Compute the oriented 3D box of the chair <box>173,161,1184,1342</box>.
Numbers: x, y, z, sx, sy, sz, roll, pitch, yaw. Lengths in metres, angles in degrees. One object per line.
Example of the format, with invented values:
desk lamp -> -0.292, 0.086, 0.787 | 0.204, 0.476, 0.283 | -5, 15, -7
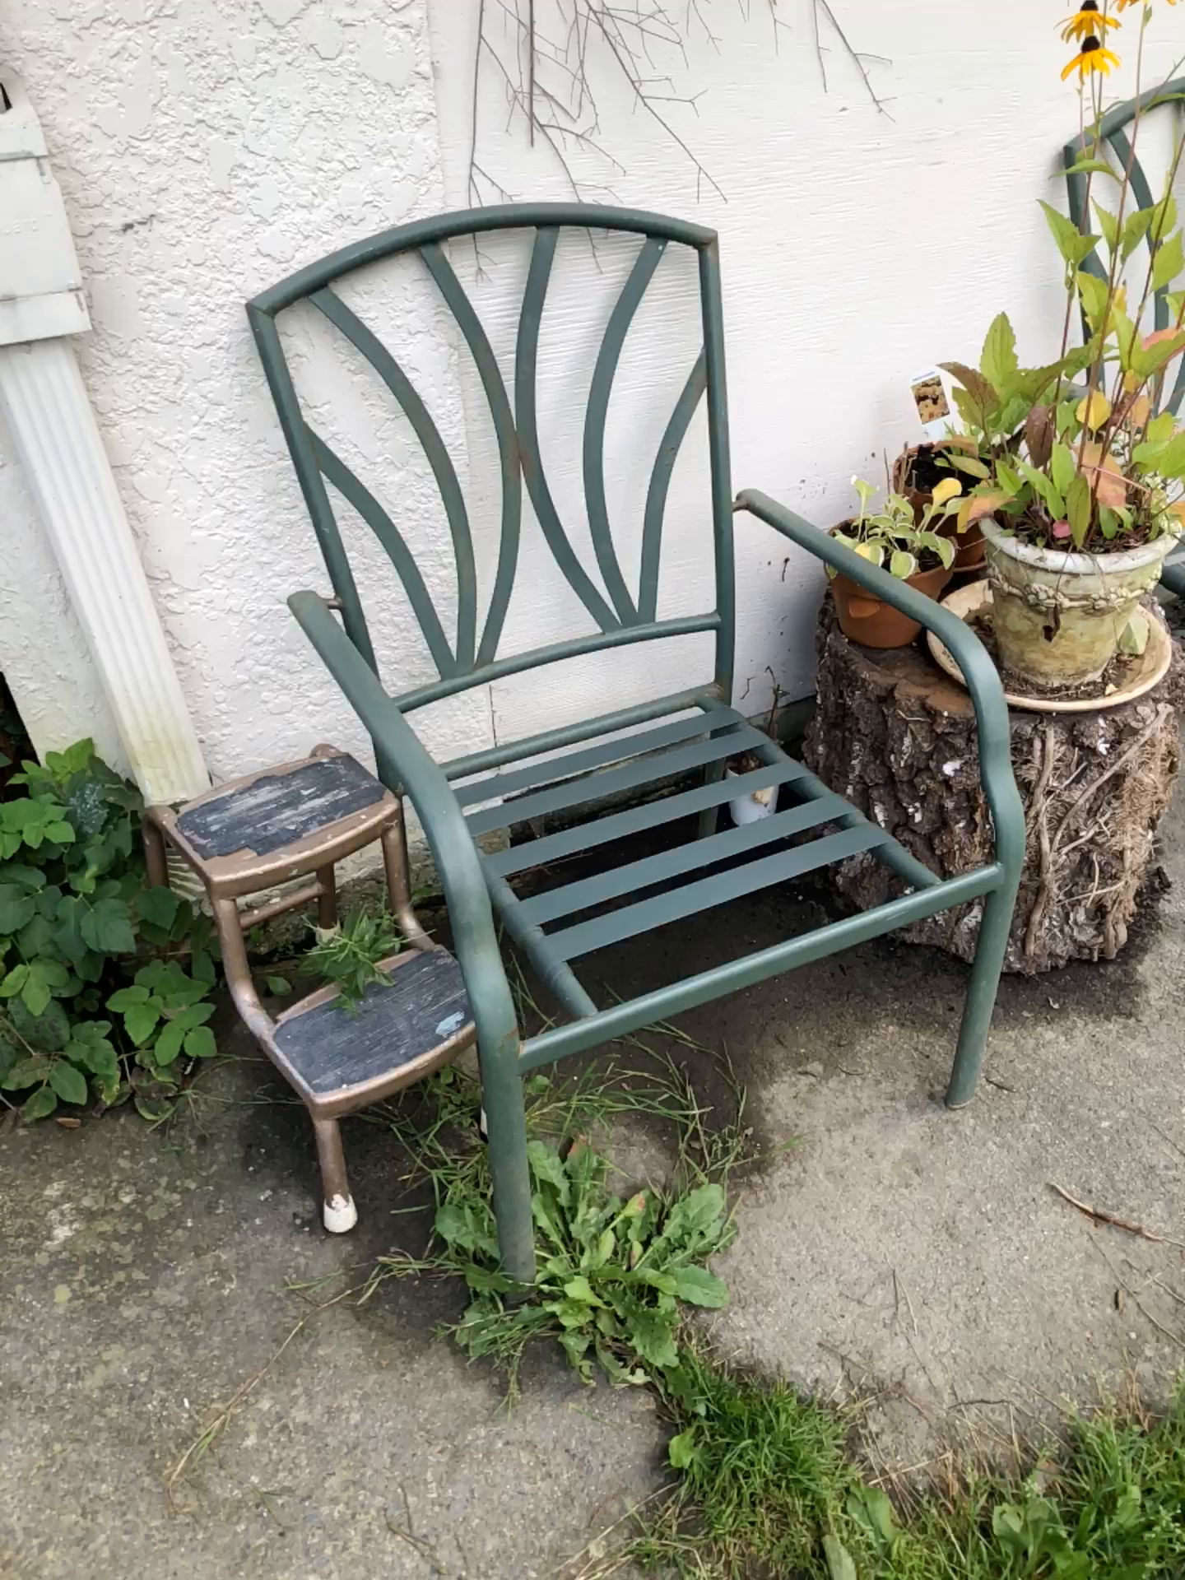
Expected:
chair -> 0.039, -0.073, 1.382 | 0.620, 0.904, 0.684 | -18, 41, -20
